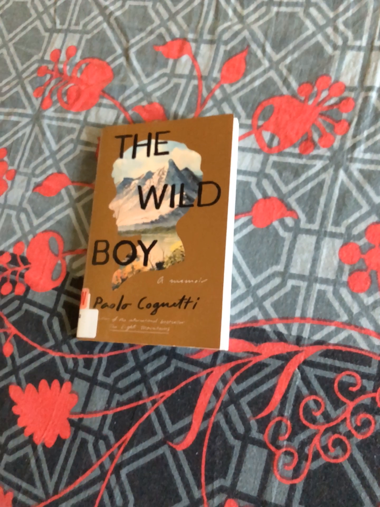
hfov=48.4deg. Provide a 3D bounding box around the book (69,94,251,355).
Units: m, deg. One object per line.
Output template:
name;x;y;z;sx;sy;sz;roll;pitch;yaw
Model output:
book;-0.025;-0.029;0.397;0.150;0.030;0.230;-1;75;20
